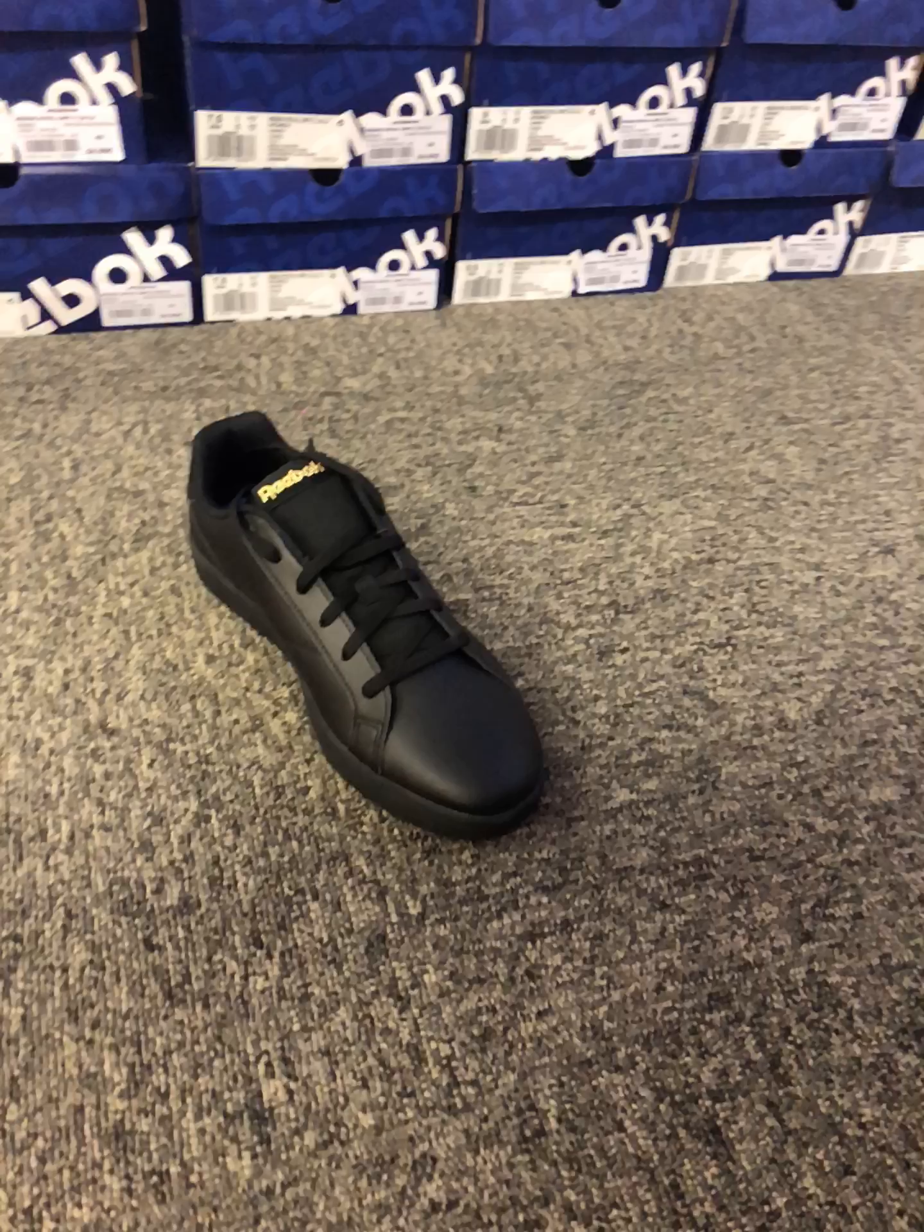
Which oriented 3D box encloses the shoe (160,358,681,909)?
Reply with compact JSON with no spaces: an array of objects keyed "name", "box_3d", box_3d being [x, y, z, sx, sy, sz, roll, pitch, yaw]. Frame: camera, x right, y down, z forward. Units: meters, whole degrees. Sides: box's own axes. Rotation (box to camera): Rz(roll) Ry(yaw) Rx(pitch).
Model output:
[{"name":"shoe","box_3d":[-0.035,-0.008,0.478,0.099,0.089,0.260,-24,53,-30]}]
